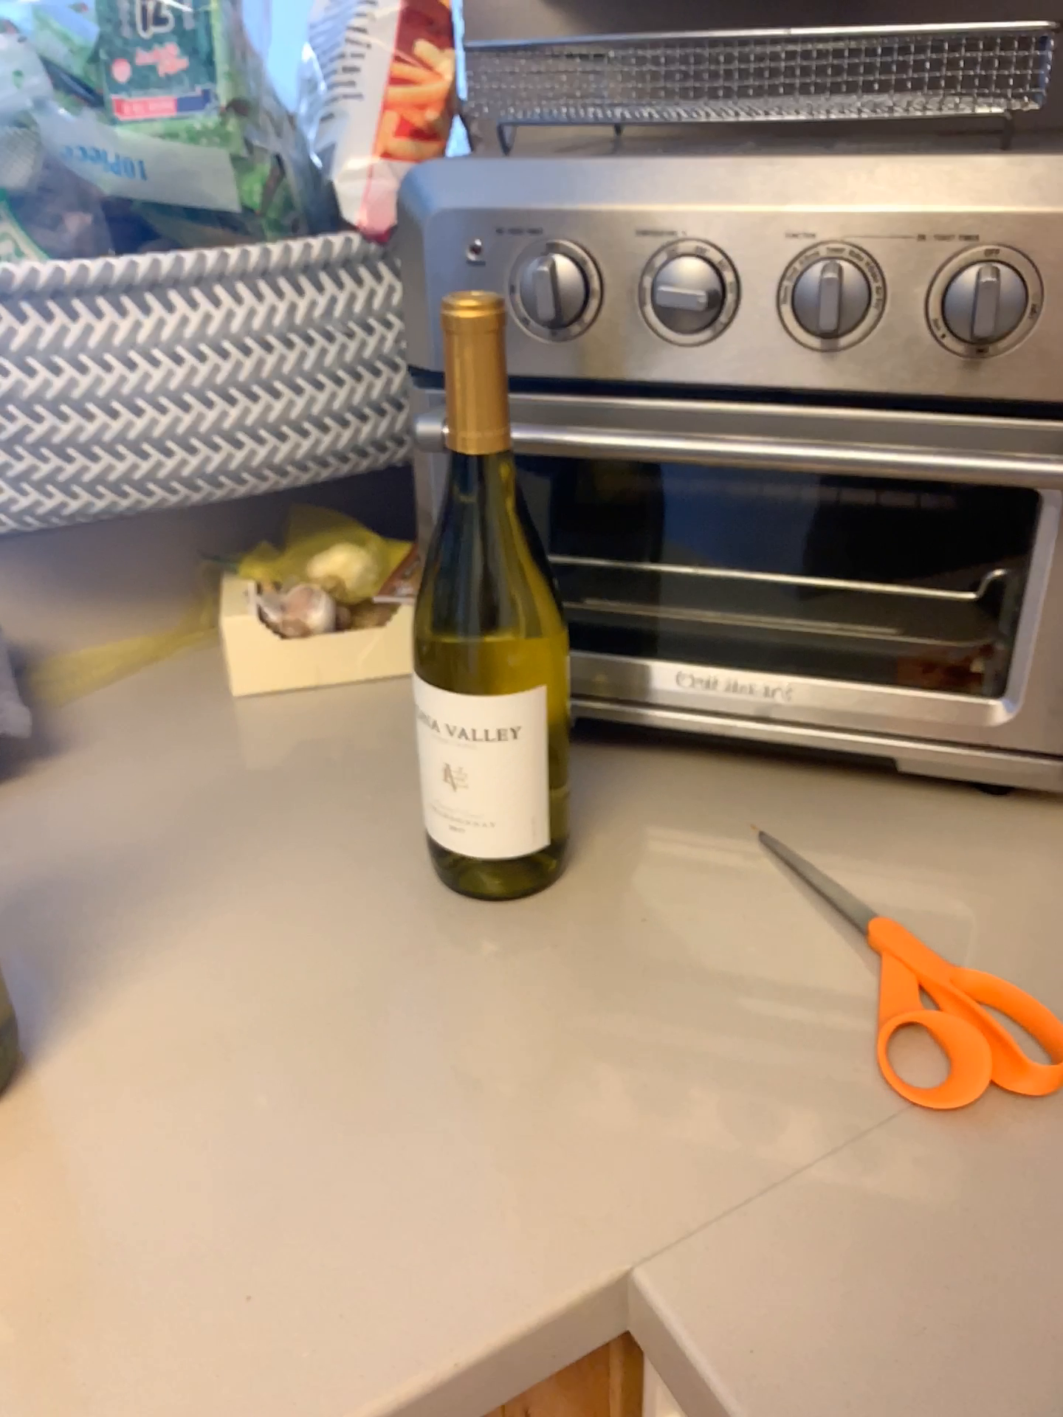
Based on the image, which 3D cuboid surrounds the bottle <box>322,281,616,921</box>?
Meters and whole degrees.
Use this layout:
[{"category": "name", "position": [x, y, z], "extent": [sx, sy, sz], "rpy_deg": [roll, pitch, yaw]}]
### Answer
[{"category": "bottle", "position": [-0.020, -0.048, 0.527], "extent": [0.090, 0.278, 0.091], "rpy_deg": [-1, 28, 1]}]
